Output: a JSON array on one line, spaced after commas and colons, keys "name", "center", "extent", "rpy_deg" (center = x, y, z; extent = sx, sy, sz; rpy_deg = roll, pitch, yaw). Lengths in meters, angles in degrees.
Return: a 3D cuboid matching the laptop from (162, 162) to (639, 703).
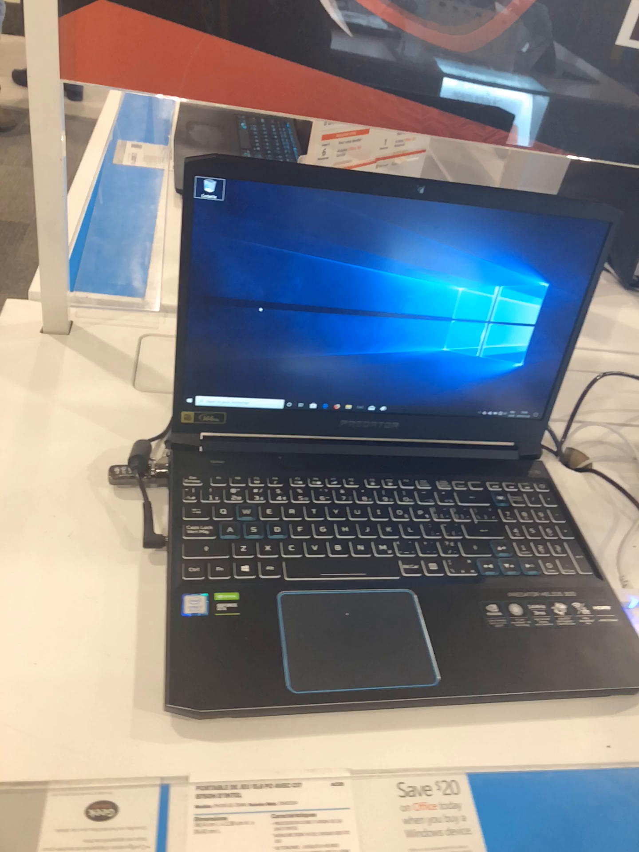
[{"name": "laptop", "center": [0.076, -0.002, 0.502], "extent": [0.348, 0.230, 0.274], "rpy_deg": [2, 41, -12]}]
